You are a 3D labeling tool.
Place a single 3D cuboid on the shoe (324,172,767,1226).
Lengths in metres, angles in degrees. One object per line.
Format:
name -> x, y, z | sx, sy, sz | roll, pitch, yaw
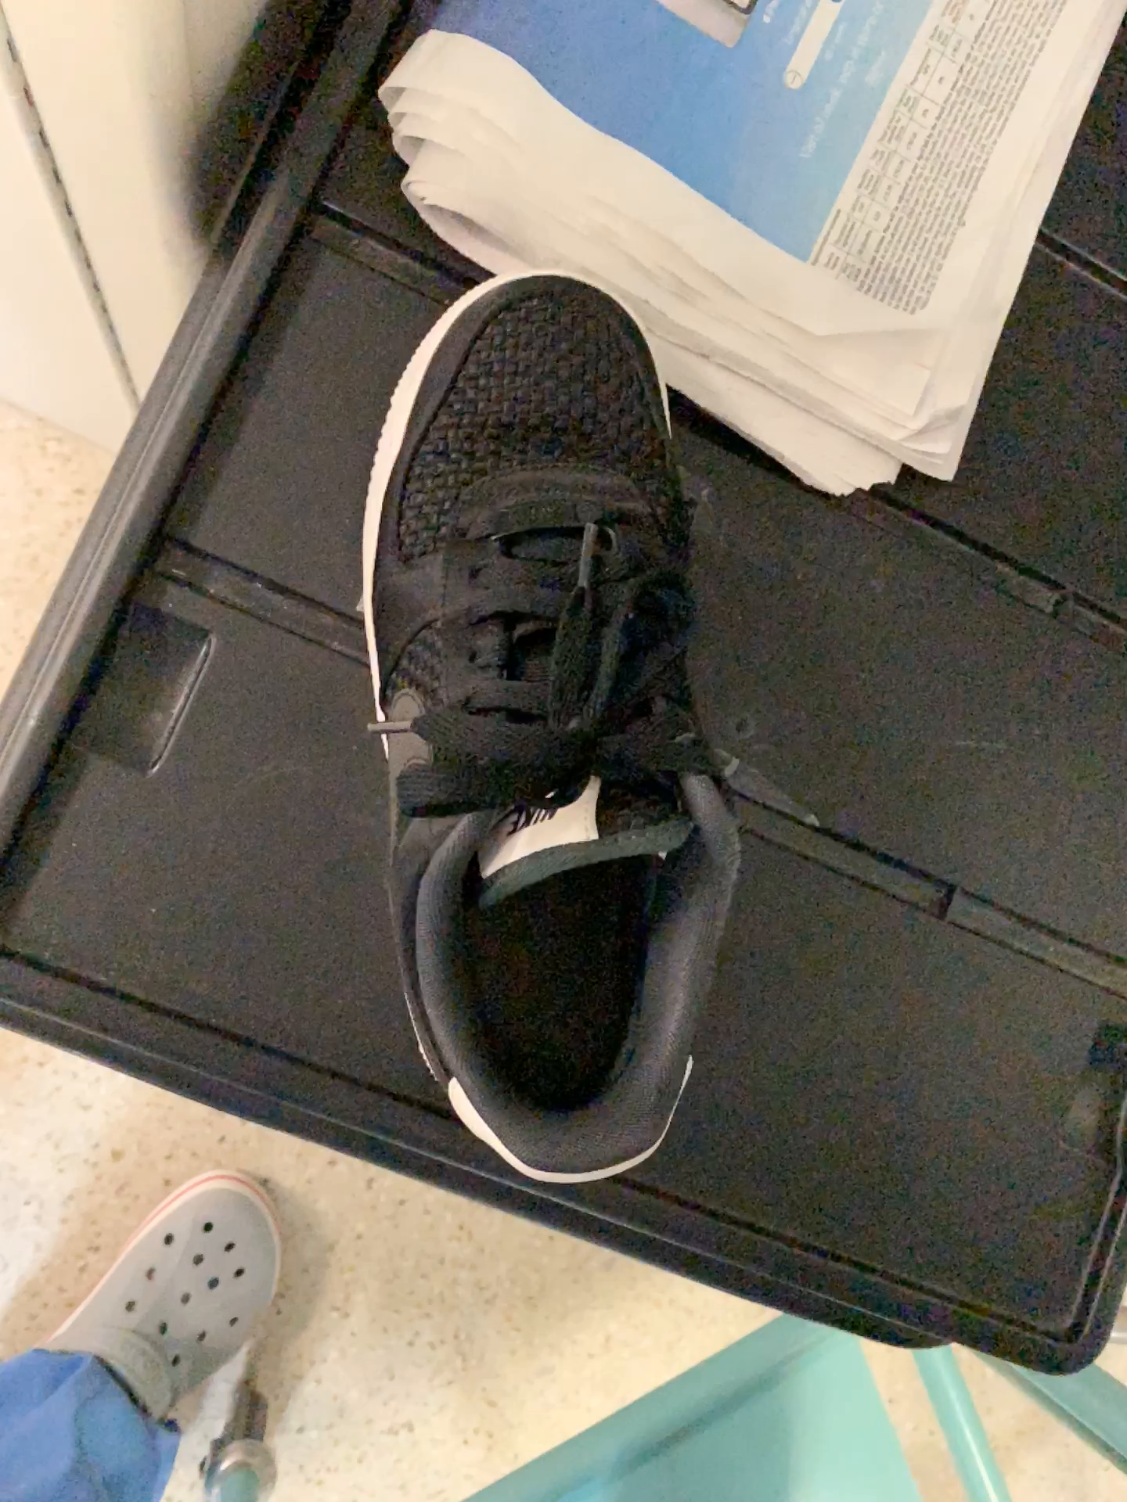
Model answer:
shoe -> -0.012, -0.012, 0.303 | 0.089, 0.094, 0.224 | -2, 89, -14
